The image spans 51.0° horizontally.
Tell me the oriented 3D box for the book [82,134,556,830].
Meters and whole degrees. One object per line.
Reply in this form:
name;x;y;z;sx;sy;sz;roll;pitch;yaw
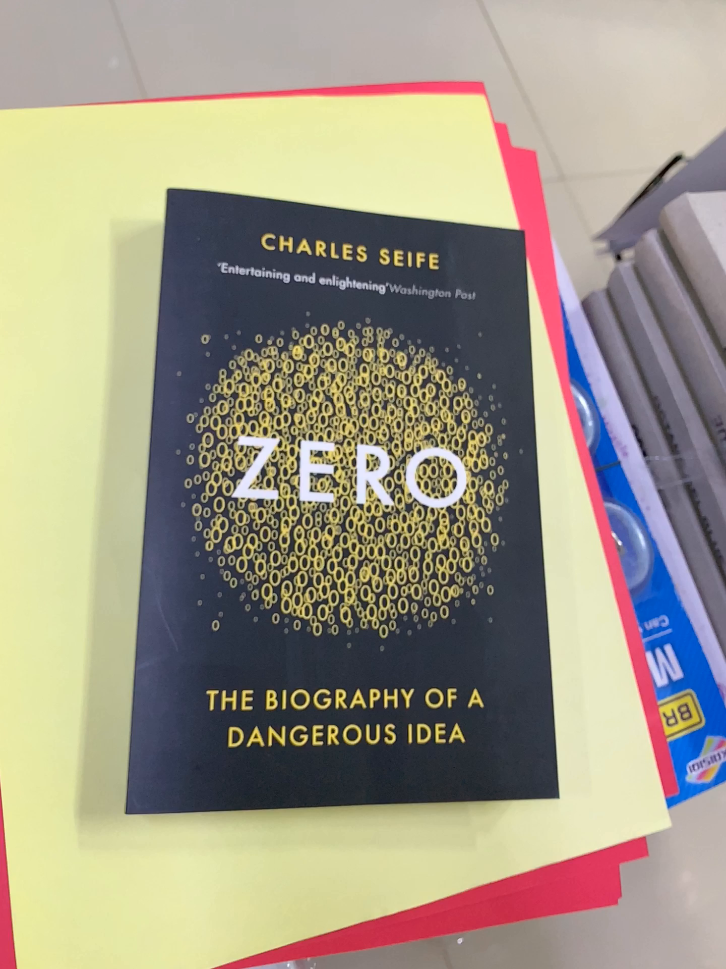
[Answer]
book;-0.011;-0.003;0.247;0.130;0.040;0.200;3;77;-13
